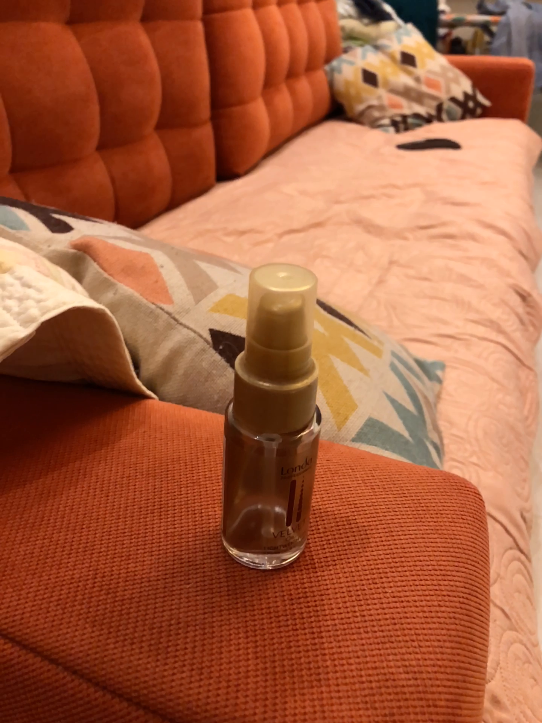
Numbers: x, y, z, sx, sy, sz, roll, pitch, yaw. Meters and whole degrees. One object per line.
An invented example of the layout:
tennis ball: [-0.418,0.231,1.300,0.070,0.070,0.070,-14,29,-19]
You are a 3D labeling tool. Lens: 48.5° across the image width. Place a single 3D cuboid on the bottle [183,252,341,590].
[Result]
bottle: [-0.003,0.022,0.204,0.034,0.106,0.033,-1,30,0]
